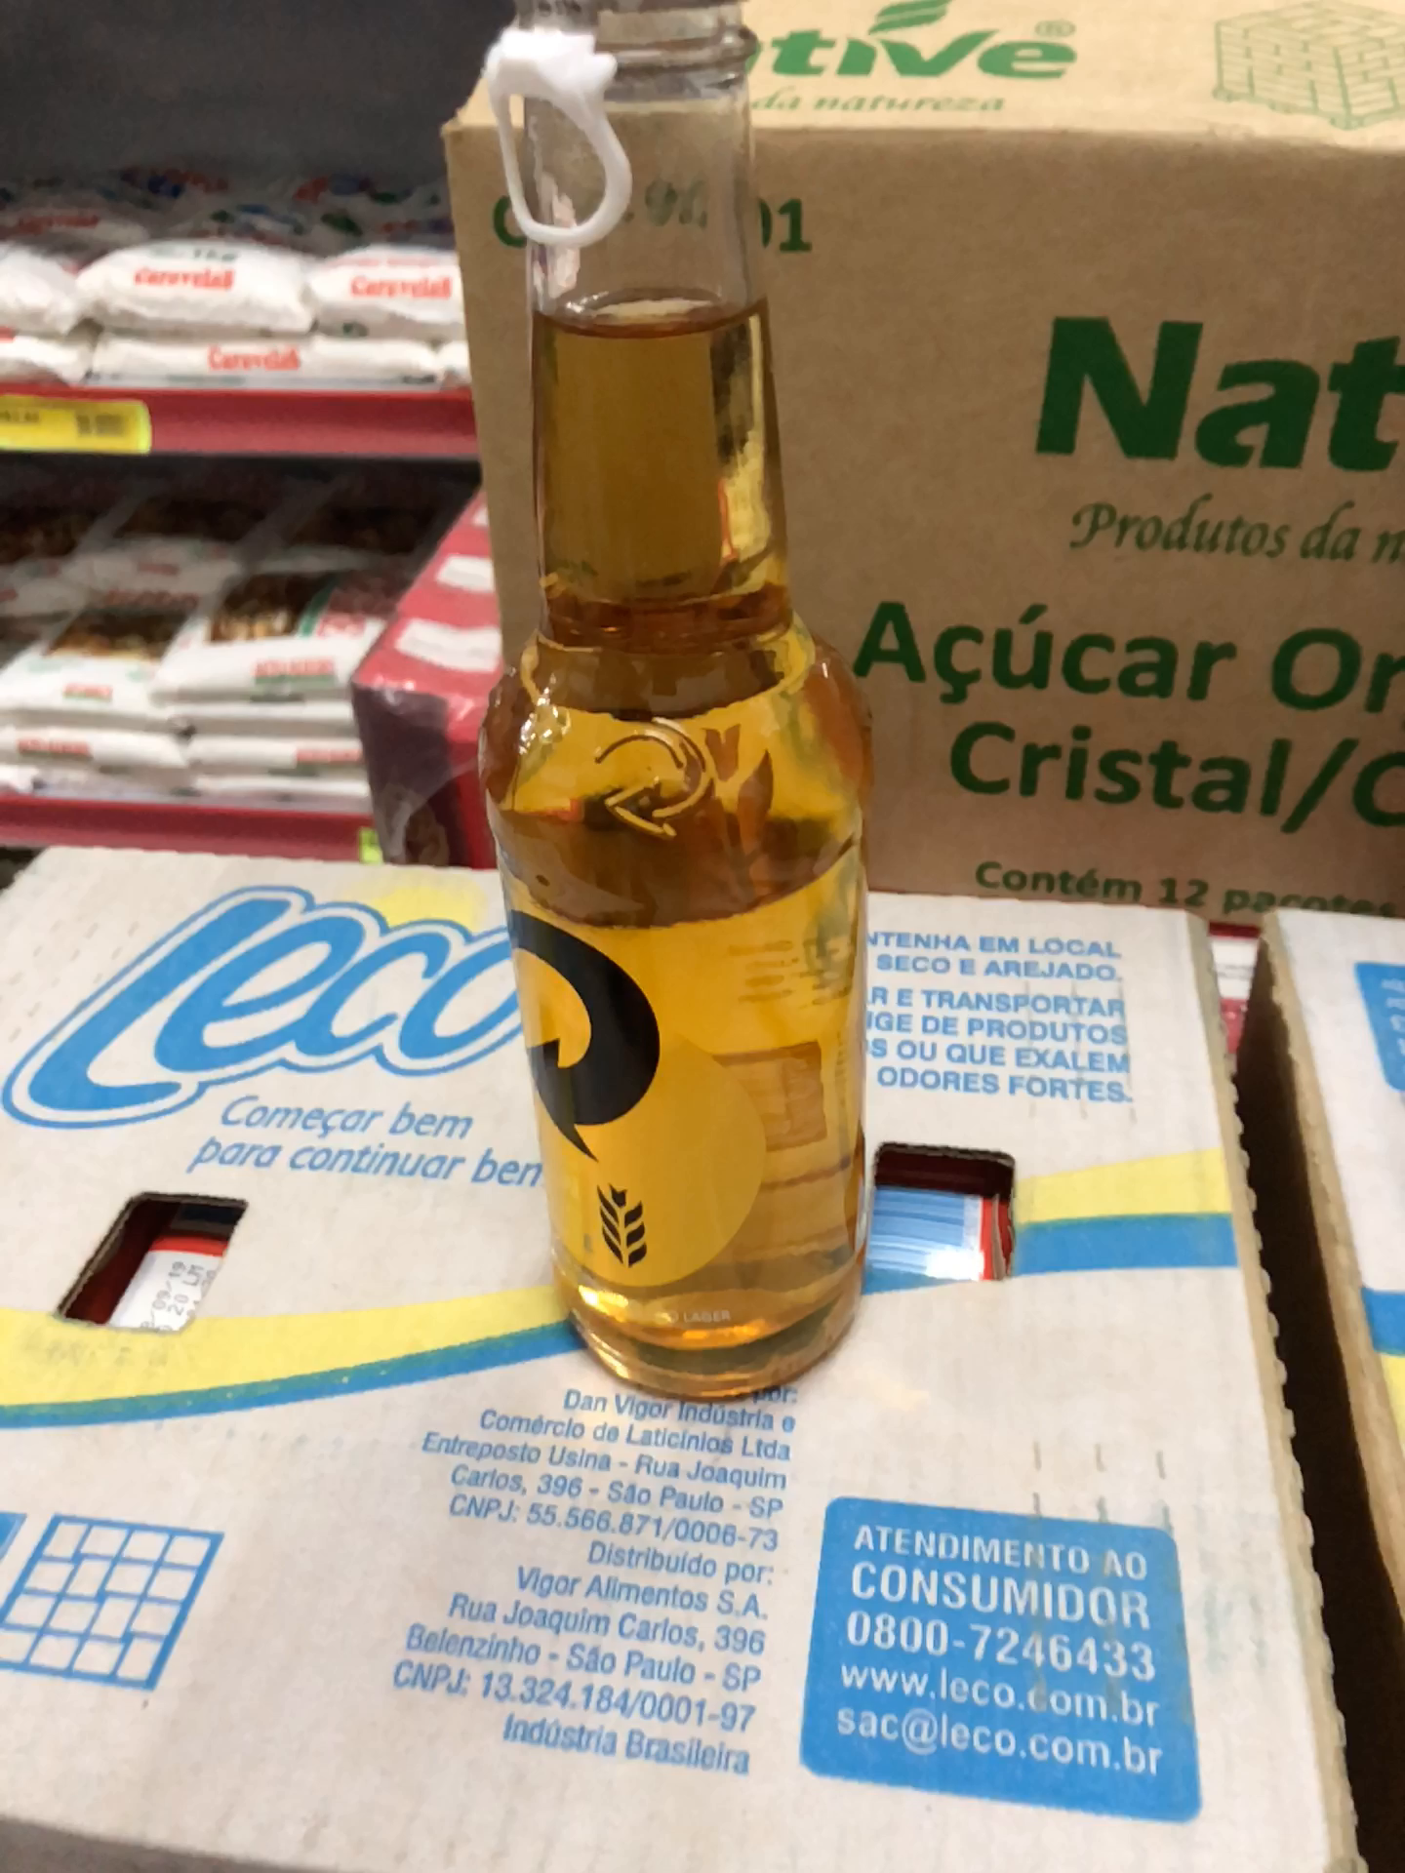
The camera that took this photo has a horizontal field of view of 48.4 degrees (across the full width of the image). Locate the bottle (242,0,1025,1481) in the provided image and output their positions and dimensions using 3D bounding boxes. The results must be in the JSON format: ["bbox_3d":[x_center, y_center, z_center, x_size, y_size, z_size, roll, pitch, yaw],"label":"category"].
[{"bbox_3d":[-0.003,-0.021,0.228,0.060,0.208,0.060,-1,35,1],"label":"bottle"}]
